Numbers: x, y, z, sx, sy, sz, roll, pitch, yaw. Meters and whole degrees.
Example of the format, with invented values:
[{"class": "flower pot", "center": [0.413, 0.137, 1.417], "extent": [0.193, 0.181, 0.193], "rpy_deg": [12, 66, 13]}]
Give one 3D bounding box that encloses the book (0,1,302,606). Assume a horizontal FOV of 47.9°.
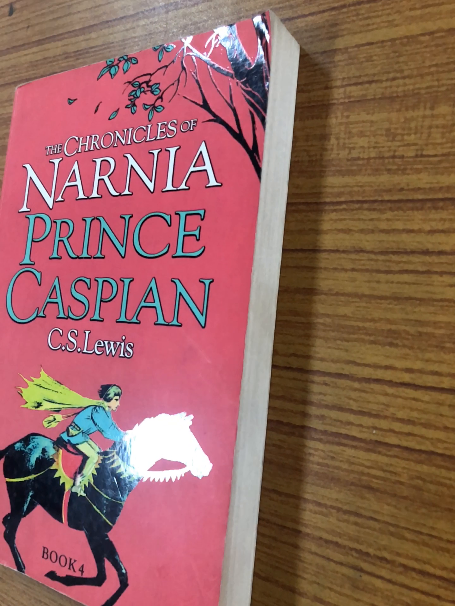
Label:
[{"class": "book", "center": [-0.047, 0.006, 0.187], "extent": [0.130, 0.030, 0.190], "rpy_deg": [3, 84, 31]}]
